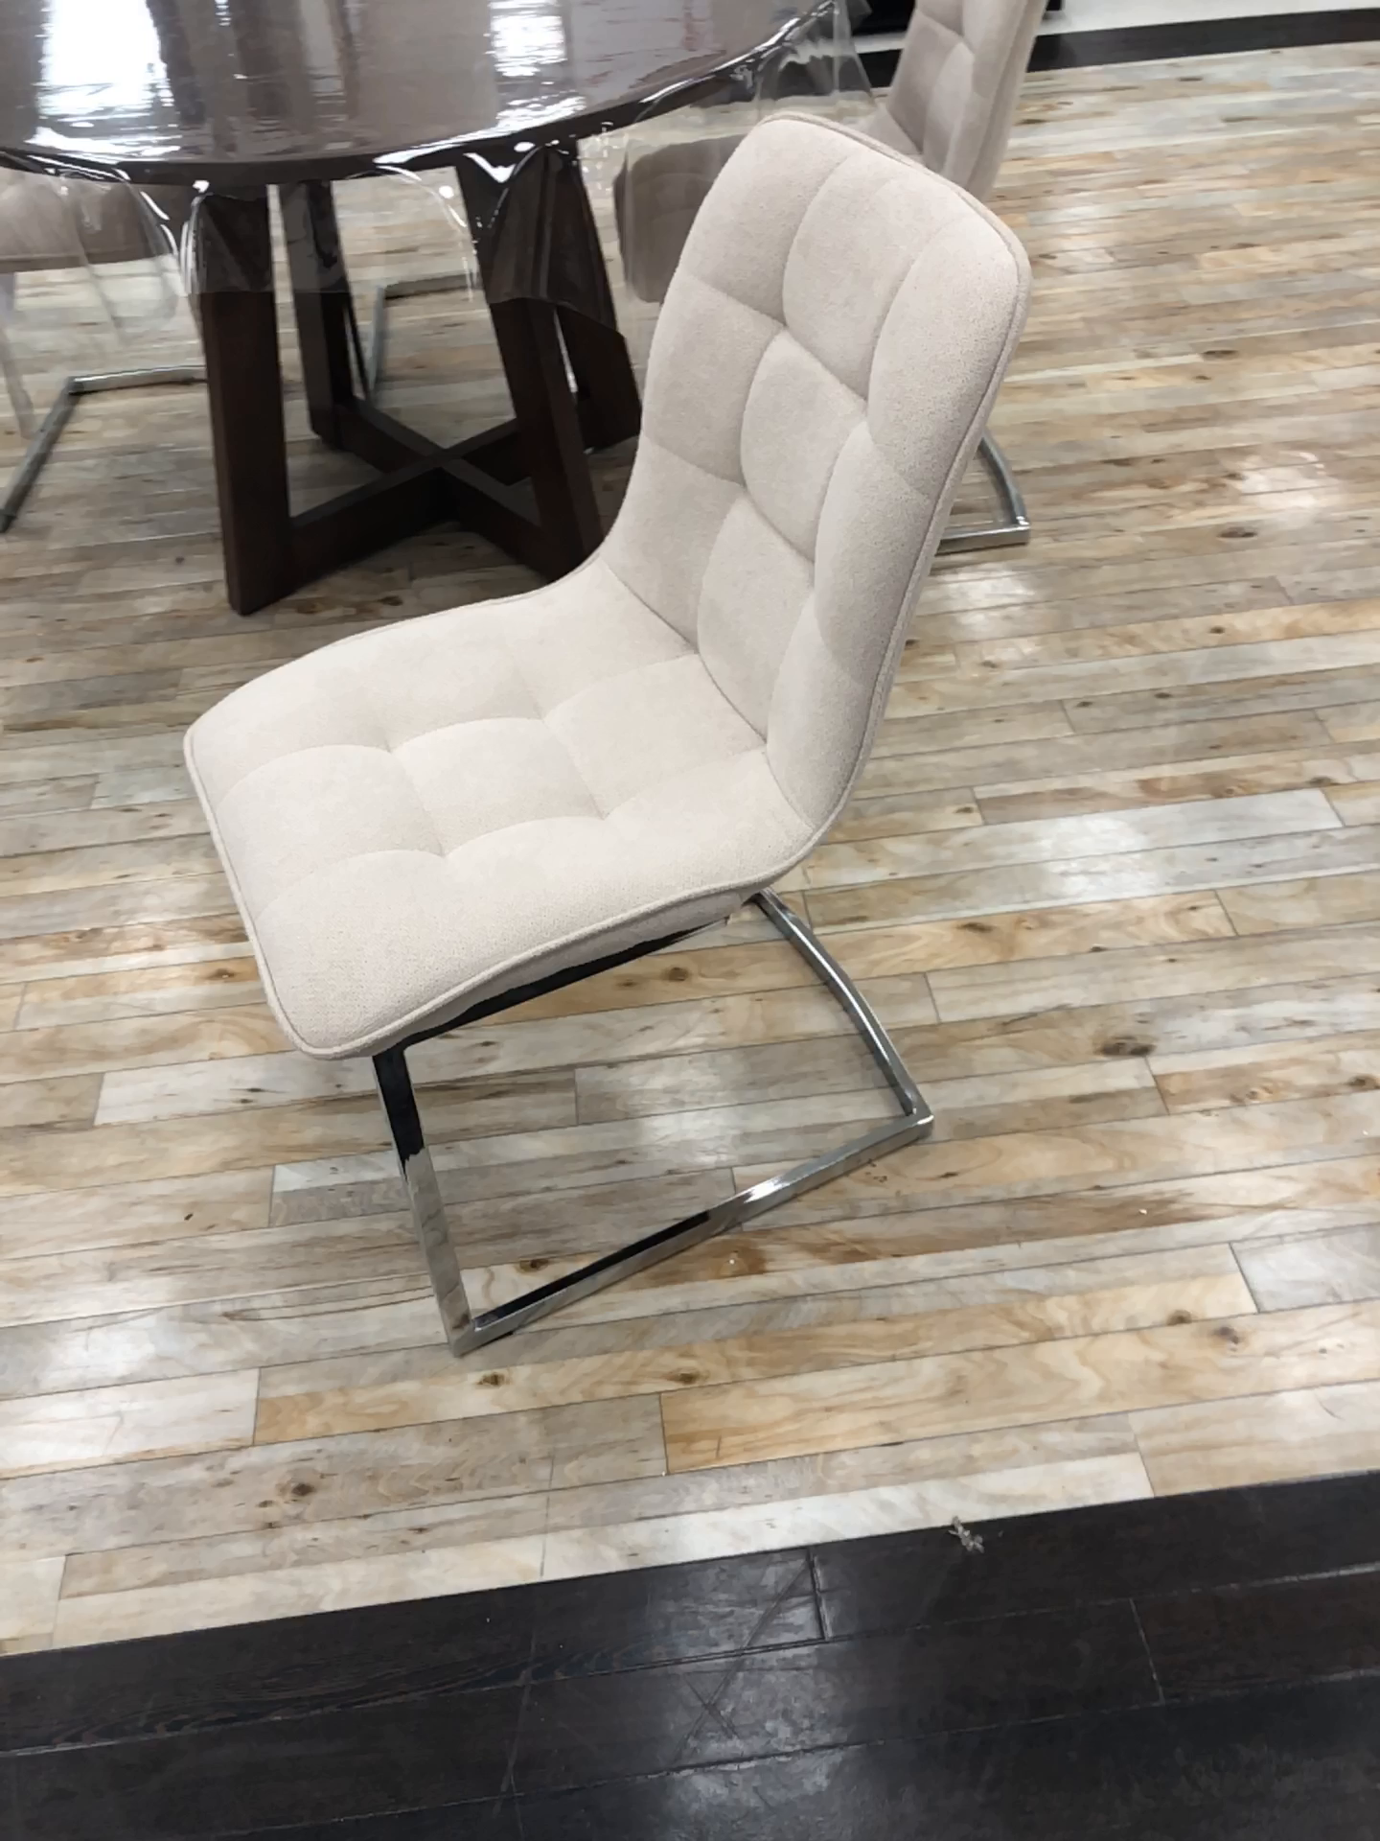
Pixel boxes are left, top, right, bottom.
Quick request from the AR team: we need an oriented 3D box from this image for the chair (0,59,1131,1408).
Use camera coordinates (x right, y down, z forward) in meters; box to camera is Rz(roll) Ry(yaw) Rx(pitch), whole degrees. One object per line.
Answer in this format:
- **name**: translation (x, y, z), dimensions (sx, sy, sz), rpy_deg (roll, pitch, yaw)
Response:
- **chair**: translation (-0.098, -0.129, 1.238), dimensions (0.590, 0.837, 0.492), rpy_deg (-18, 46, -14)
